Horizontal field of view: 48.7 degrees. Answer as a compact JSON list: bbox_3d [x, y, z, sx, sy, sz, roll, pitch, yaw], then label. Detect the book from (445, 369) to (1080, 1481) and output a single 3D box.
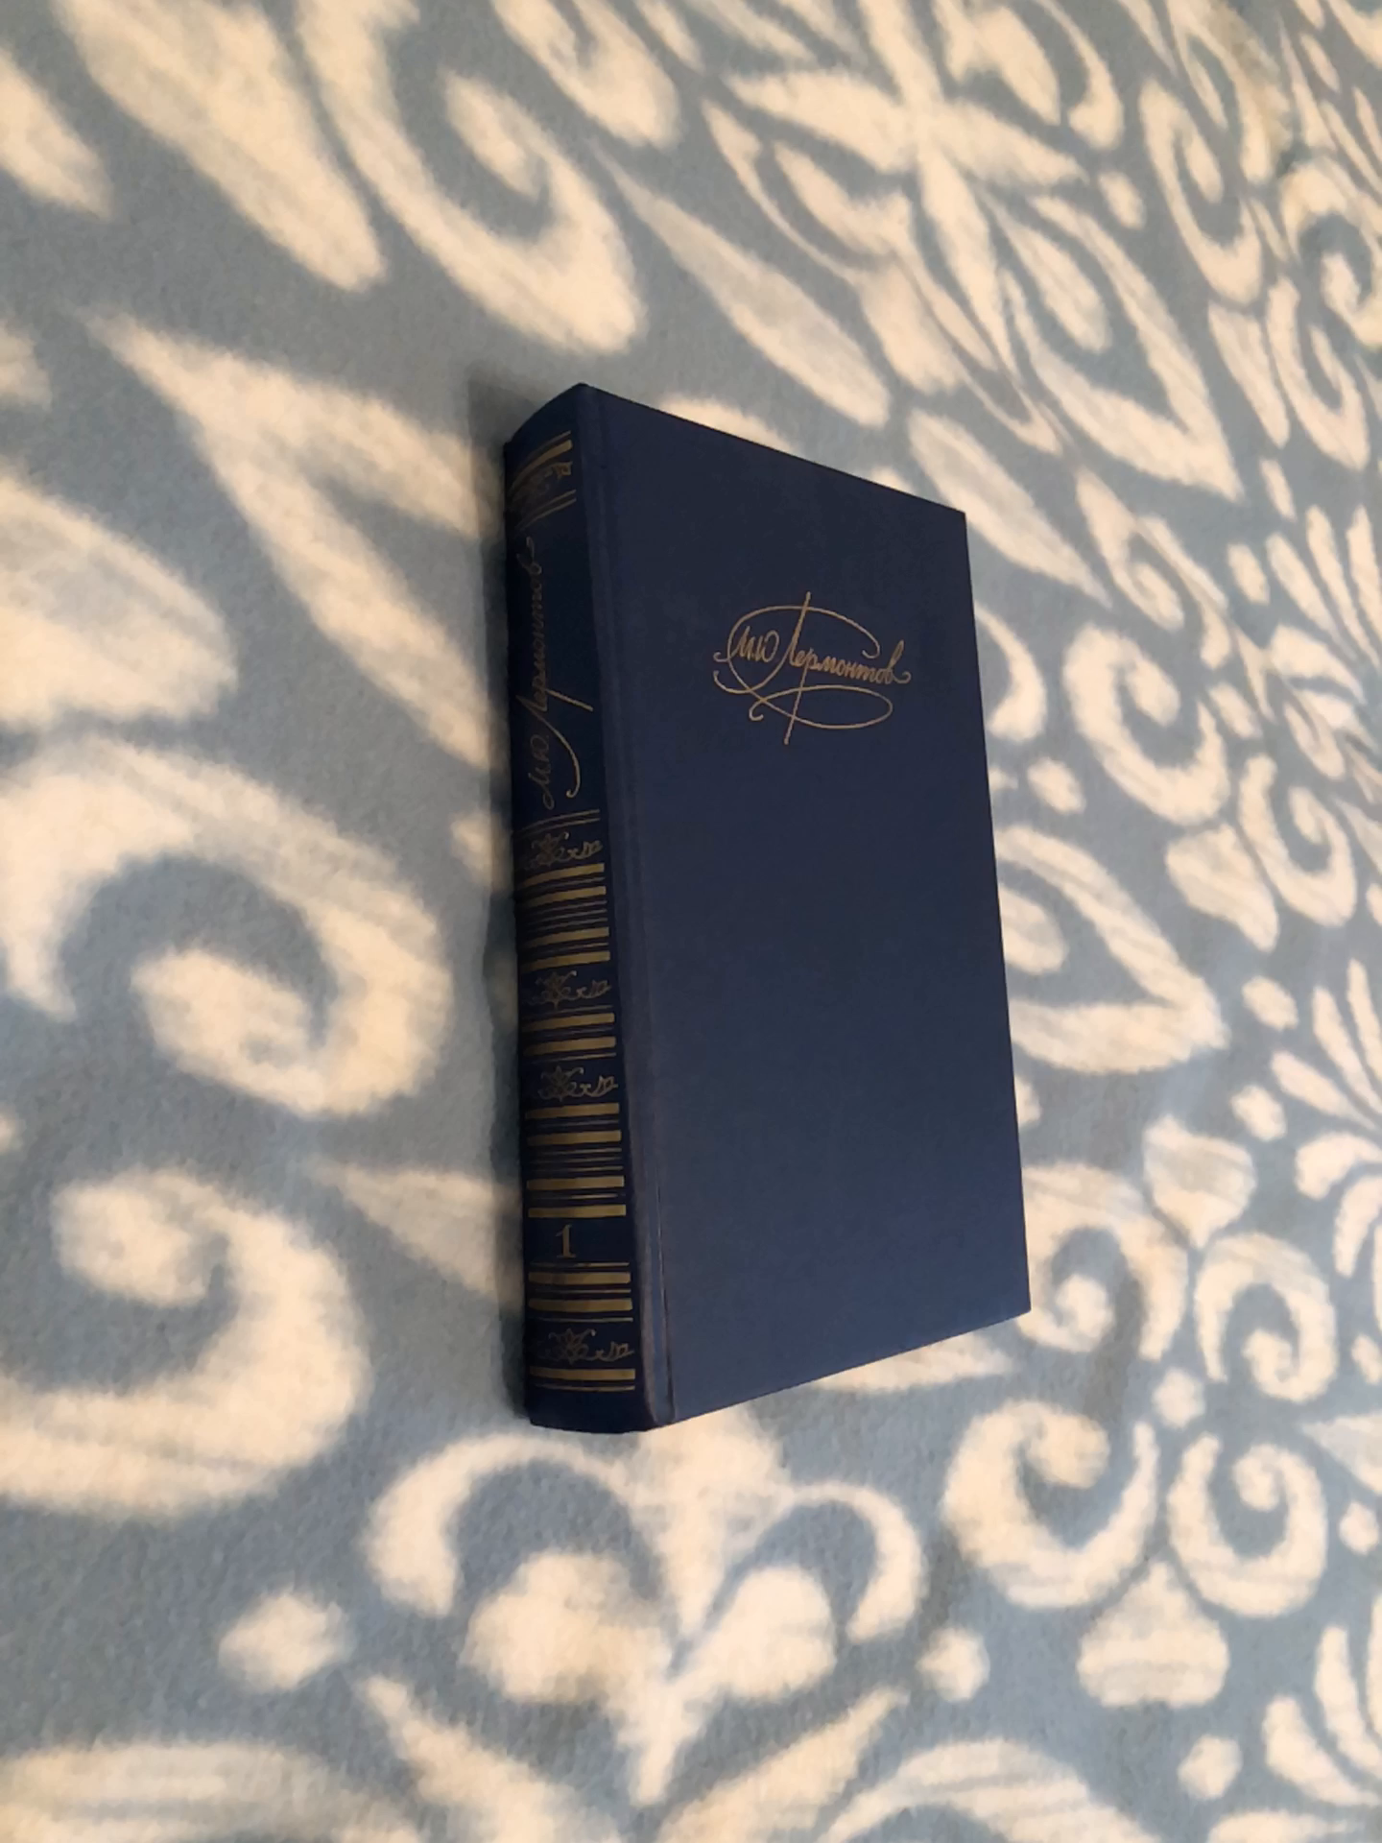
[{"bbox_3d":[0.020,0.001,0.335,0.139,0.040,0.200,2,81,-44],"label":"book"}]
